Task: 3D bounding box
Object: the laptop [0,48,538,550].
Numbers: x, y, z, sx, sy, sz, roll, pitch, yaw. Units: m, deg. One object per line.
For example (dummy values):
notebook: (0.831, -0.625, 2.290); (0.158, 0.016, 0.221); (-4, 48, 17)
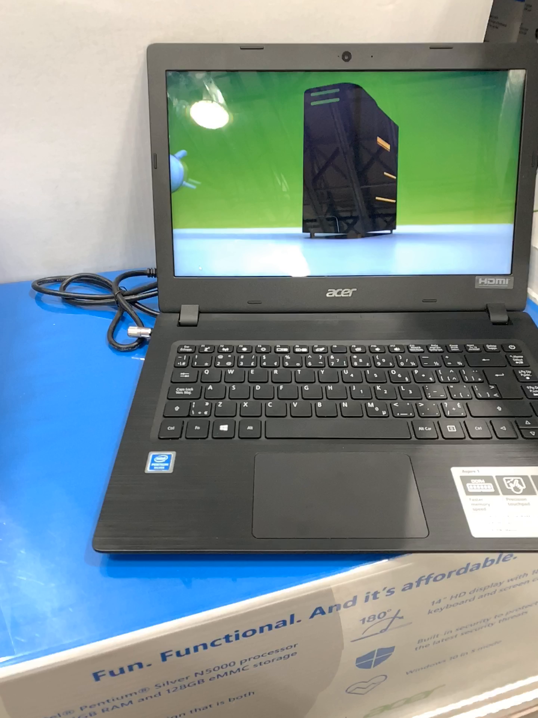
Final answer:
laptop: (0.065, -0.071, 0.370); (0.318, 0.186, 0.329); (0, 39, 0)
